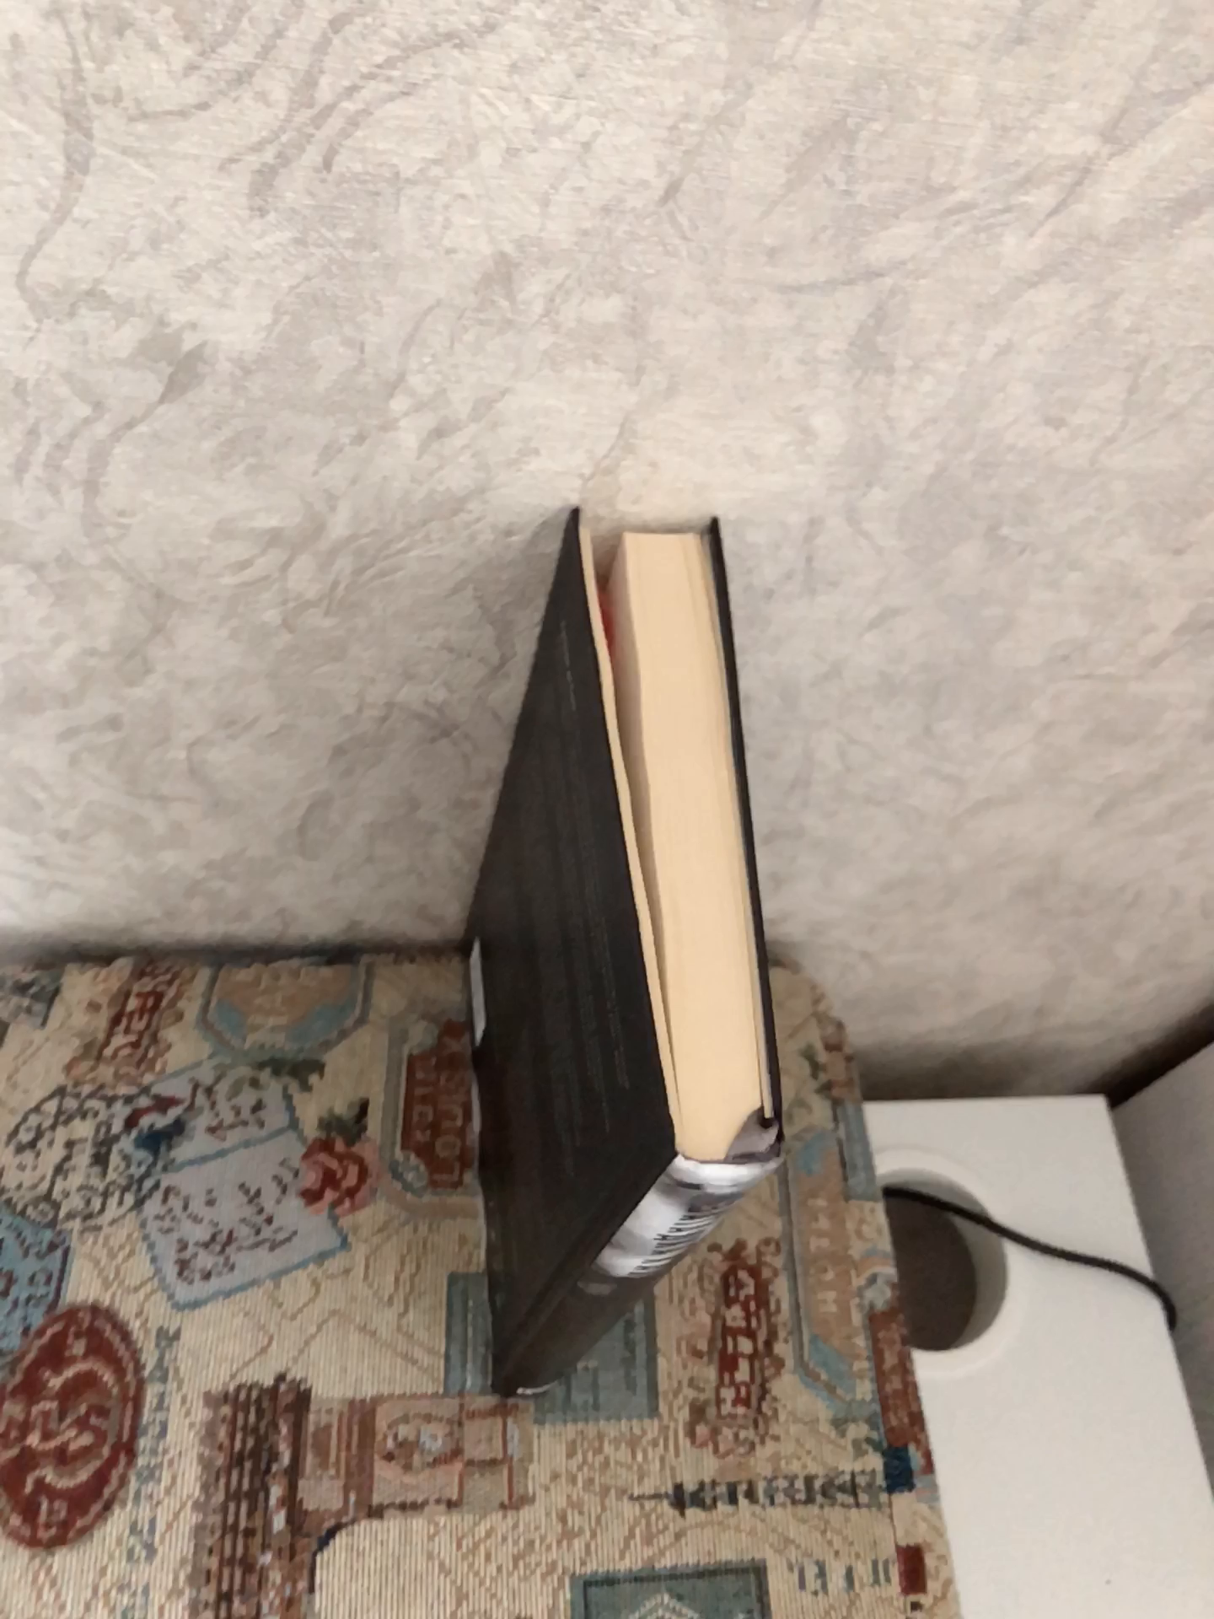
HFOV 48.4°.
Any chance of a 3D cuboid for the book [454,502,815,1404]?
[{"bbox_3d":[-0.007,0.051,0.316,0.035,0.200,0.138,4,59,-10],"label":"book"}]
